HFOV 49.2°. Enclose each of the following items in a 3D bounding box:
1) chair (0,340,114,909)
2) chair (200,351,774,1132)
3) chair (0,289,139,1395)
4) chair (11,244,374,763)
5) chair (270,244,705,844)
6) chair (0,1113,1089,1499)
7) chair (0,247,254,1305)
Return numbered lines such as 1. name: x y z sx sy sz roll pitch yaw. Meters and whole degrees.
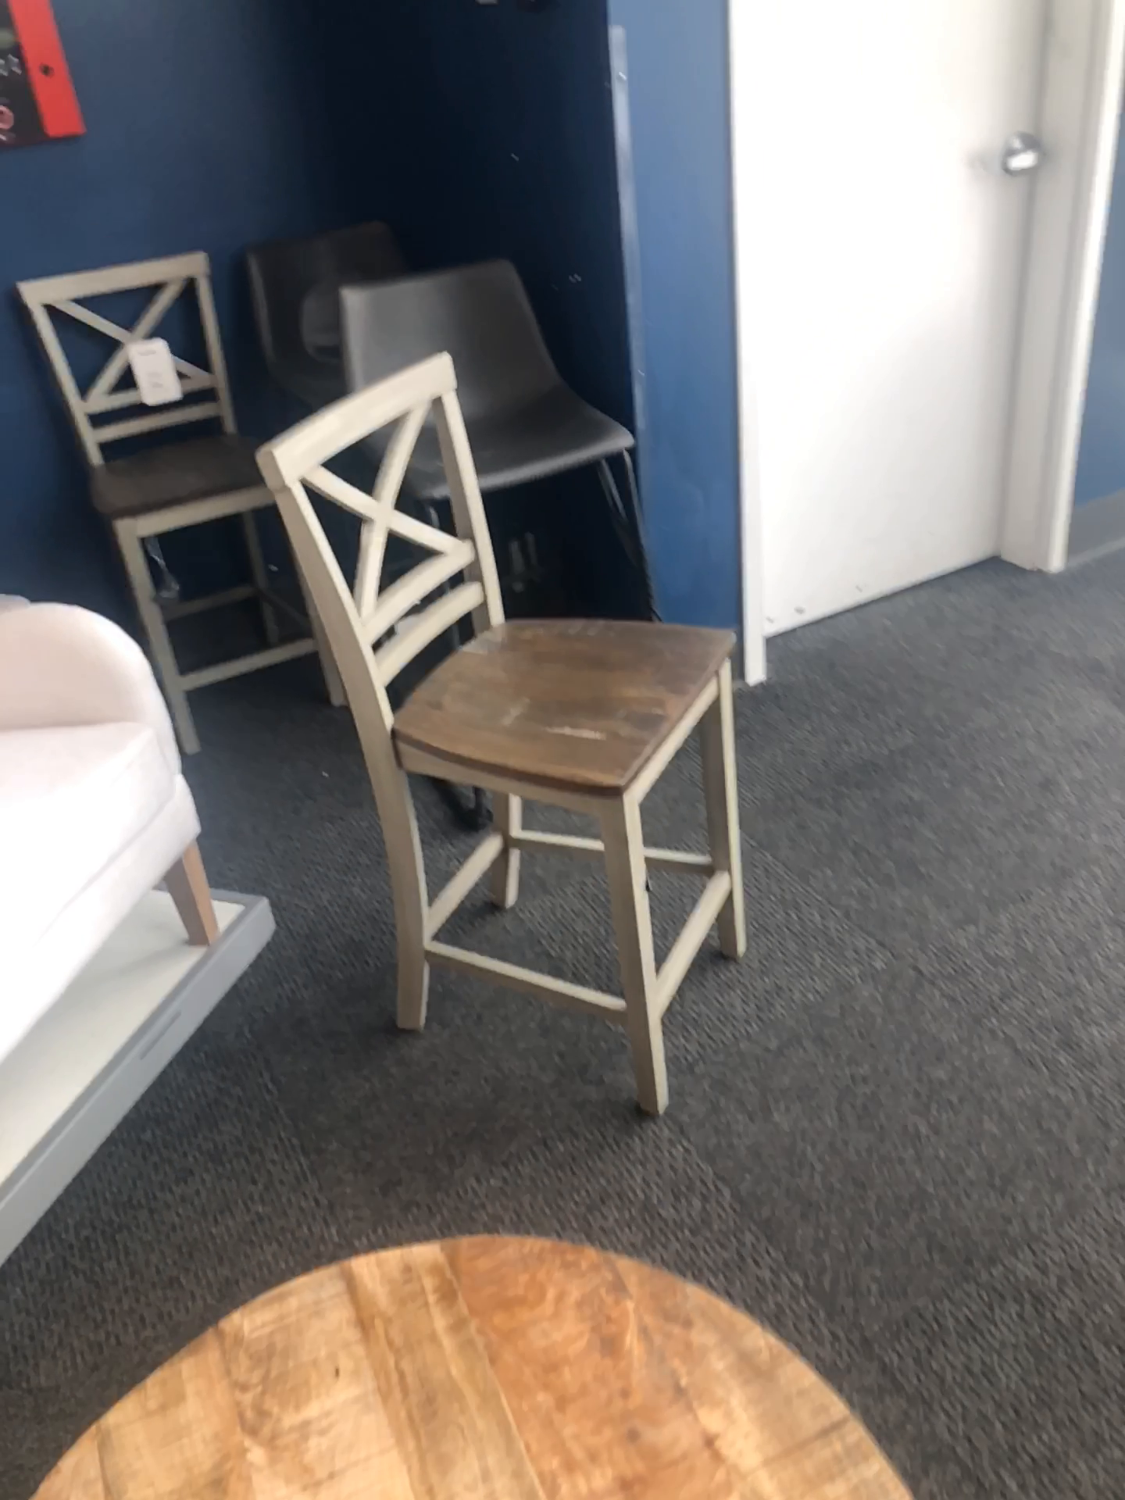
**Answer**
1. chair: -1.425 -0.267 2.436 0.585 0.924 0.522 10 36 26
2. chair: -0.037 -0.026 1.754 0.535 0.934 0.471 10 35 25
3. chair: -0.834 0.107 1.137 0.484 0.914 0.381 3 33 16
4. chair: -0.810 -0.558 2.737 0.470 0.934 0.537 -19 33 -18
5. chair: -0.121 -0.419 2.411 0.540 0.934 0.536 -23 35 -24
6. chair: -0.038 0.709 1.012 0.684 0.536 0.522 -5 32 4
7. chair: -0.975 0.007 1.522 0.705 1.014 0.693 3 33 16
